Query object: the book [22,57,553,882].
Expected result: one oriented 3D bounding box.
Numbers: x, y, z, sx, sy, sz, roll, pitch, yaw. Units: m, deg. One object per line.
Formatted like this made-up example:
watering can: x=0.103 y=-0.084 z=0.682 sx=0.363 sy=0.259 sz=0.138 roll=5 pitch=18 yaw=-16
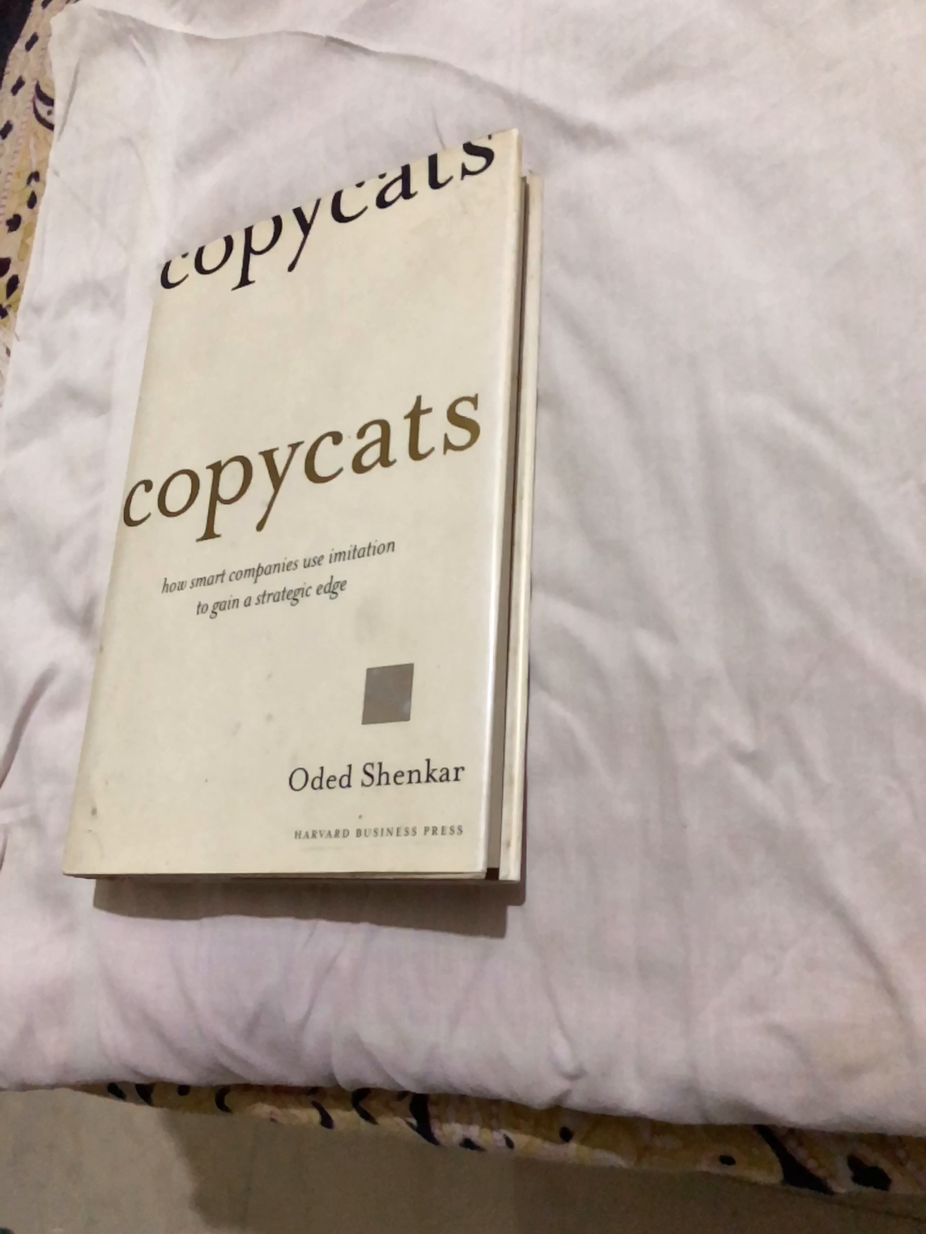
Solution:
book: x=-0.050 y=-0.039 z=0.317 sx=0.150 sy=0.040 sz=0.230 roll=-9 pitch=68 yaw=31
